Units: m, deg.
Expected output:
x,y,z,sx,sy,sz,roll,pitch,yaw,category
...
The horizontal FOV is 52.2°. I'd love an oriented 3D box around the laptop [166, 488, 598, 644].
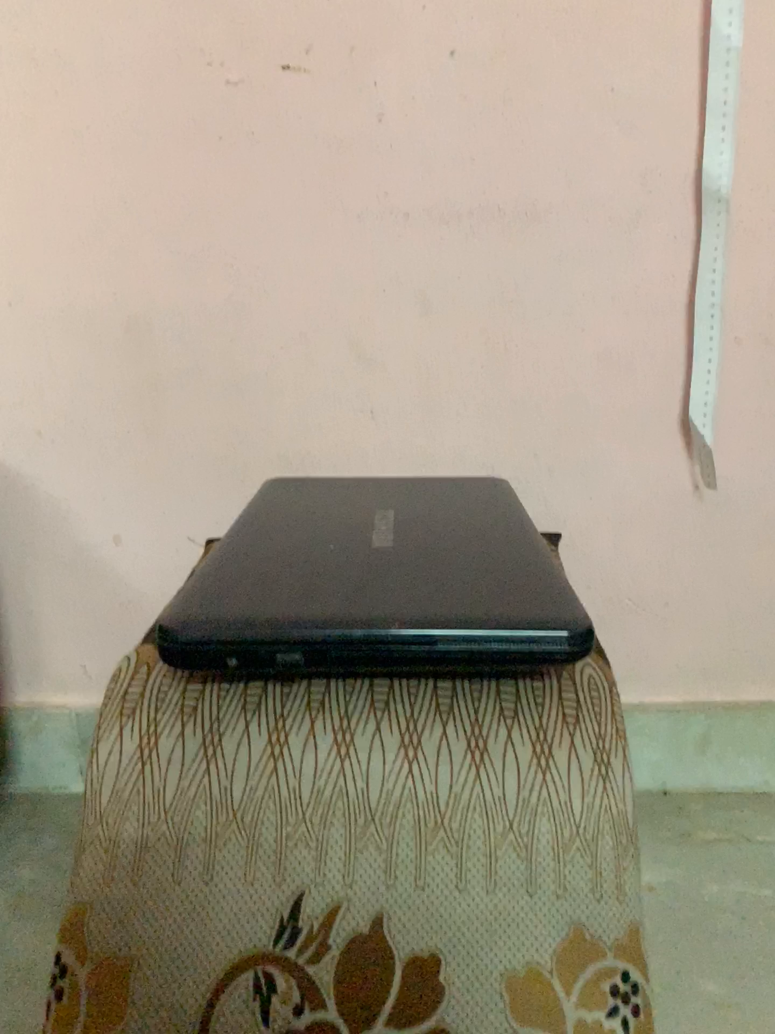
x,y,z,sx,sy,sz,roll,pitch,yaw,category
-0.004,0.019,0.587,0.222,0.001,0.371,-1,14,1,laptop
